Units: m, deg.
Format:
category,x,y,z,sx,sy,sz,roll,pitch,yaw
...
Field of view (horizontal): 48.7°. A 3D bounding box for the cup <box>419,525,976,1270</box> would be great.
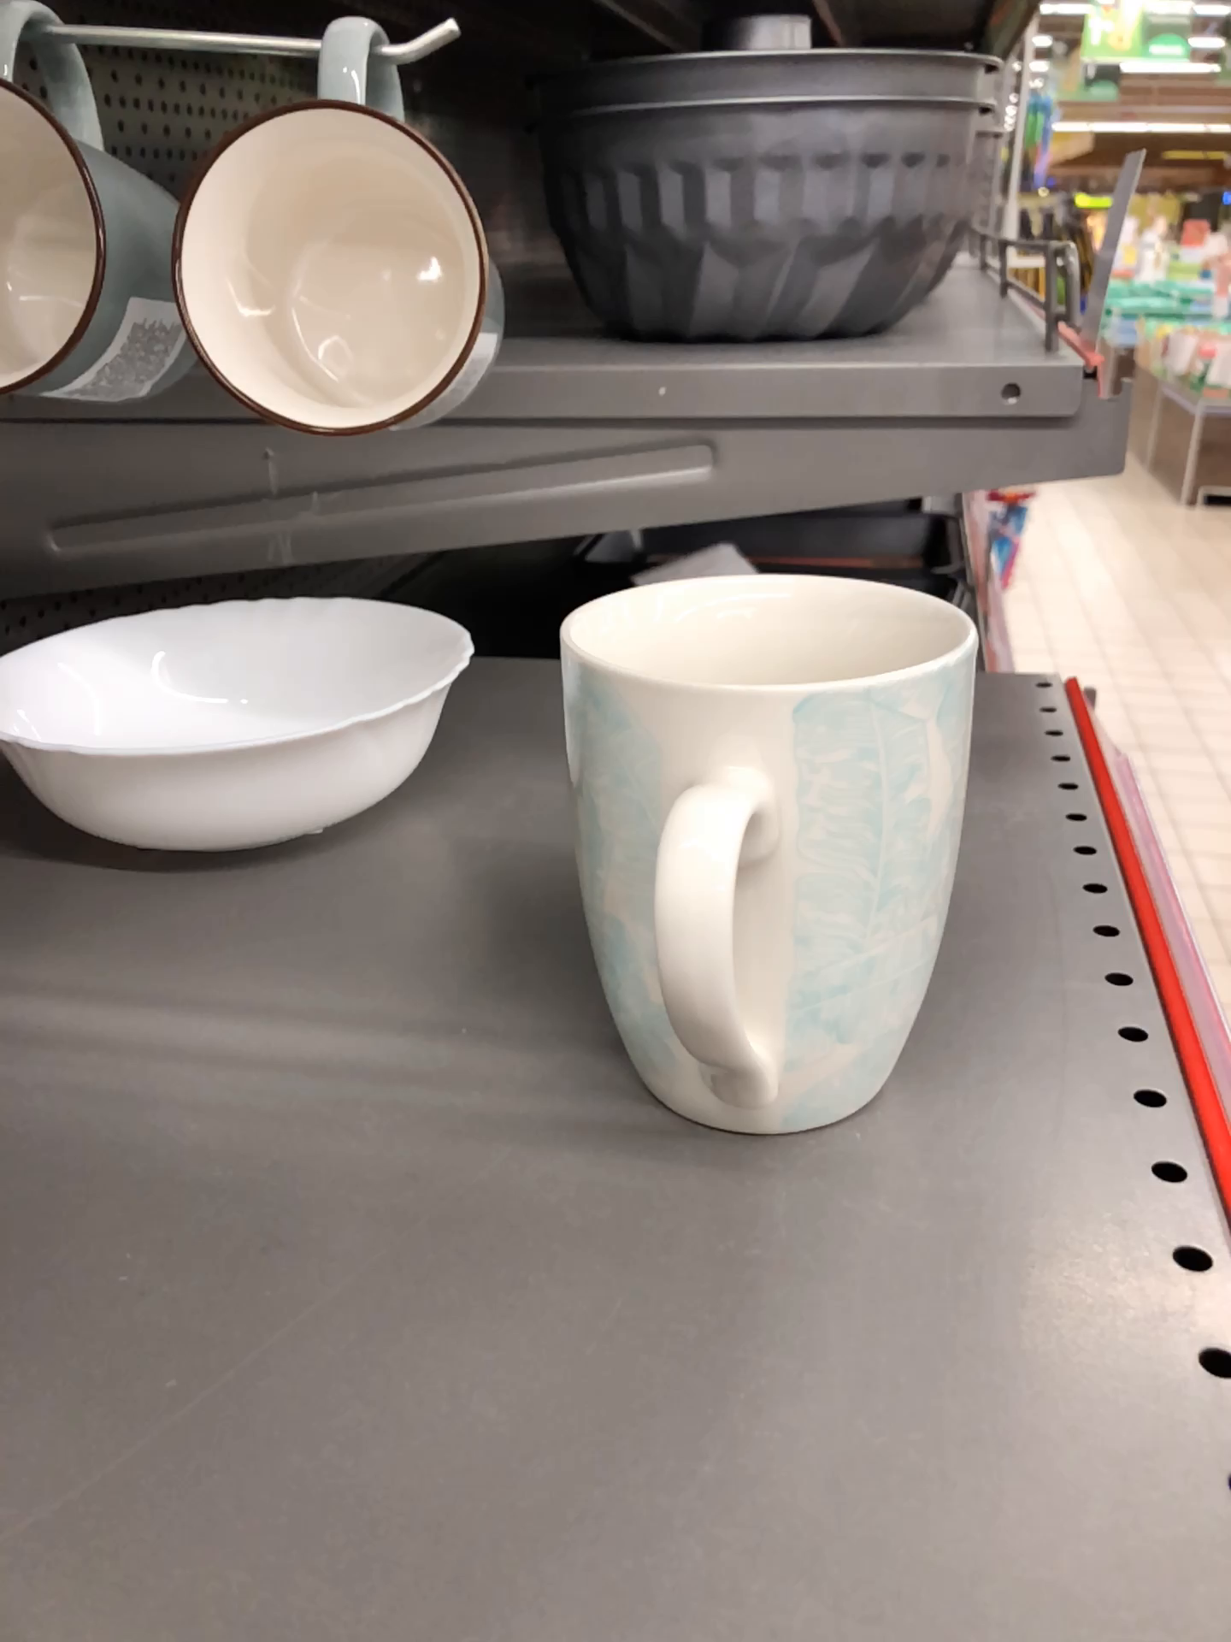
category,x,y,z,sx,sy,sz,roll,pitch,yaw
cup,0.024,0.004,0.278,0.083,0.098,0.121,7,24,13
